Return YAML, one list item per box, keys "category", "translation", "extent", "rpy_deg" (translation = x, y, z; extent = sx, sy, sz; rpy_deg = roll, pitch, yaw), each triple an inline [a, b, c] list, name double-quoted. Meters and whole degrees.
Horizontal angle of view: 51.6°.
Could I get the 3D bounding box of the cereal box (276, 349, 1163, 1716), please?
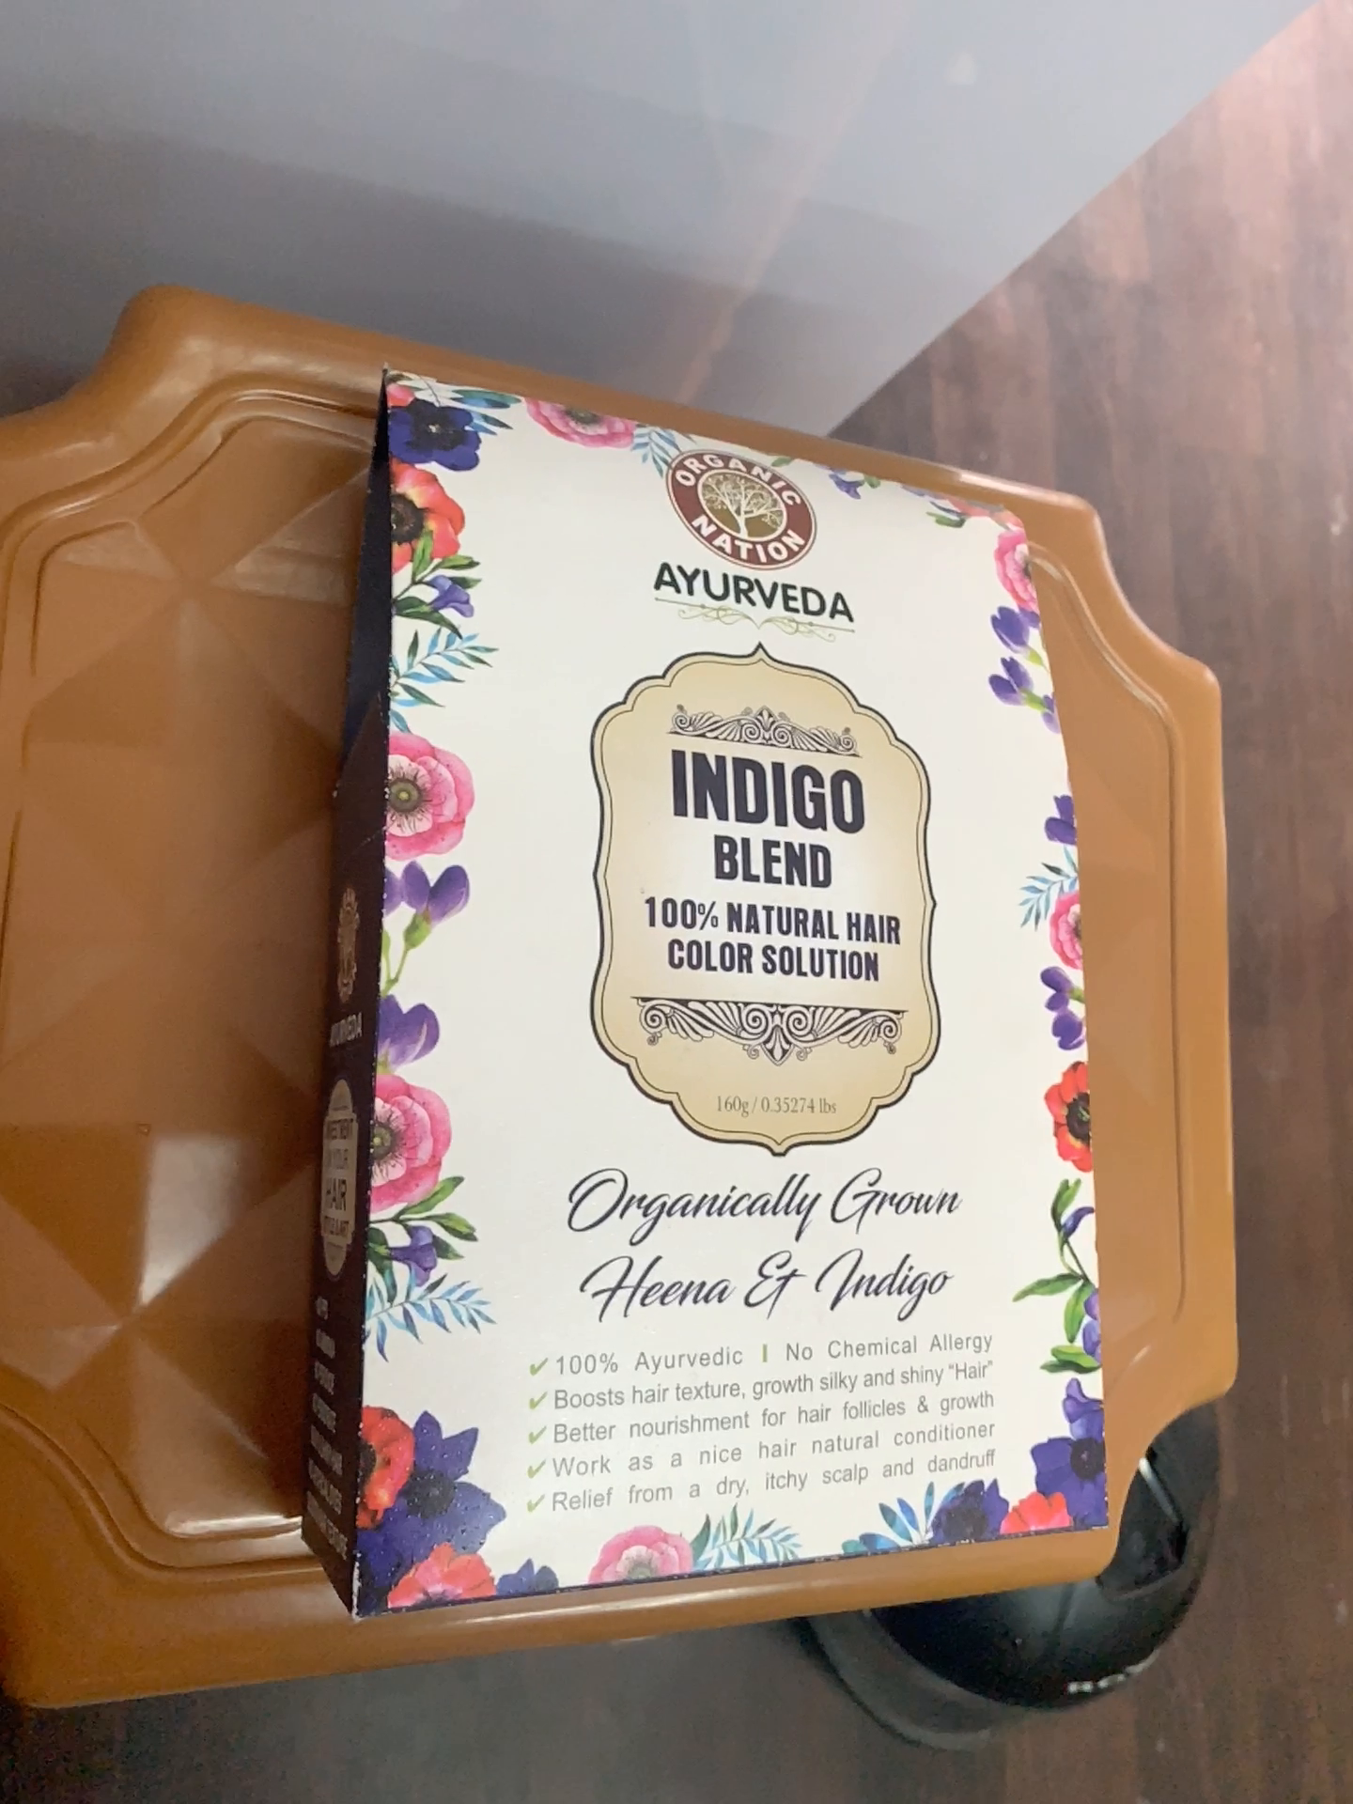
- category: "cereal box"
  translation: [0.007, 0.021, 0.263]
  extent: [0.140, 0.070, 0.200]
  rpy_deg: [4, 80, -22]
